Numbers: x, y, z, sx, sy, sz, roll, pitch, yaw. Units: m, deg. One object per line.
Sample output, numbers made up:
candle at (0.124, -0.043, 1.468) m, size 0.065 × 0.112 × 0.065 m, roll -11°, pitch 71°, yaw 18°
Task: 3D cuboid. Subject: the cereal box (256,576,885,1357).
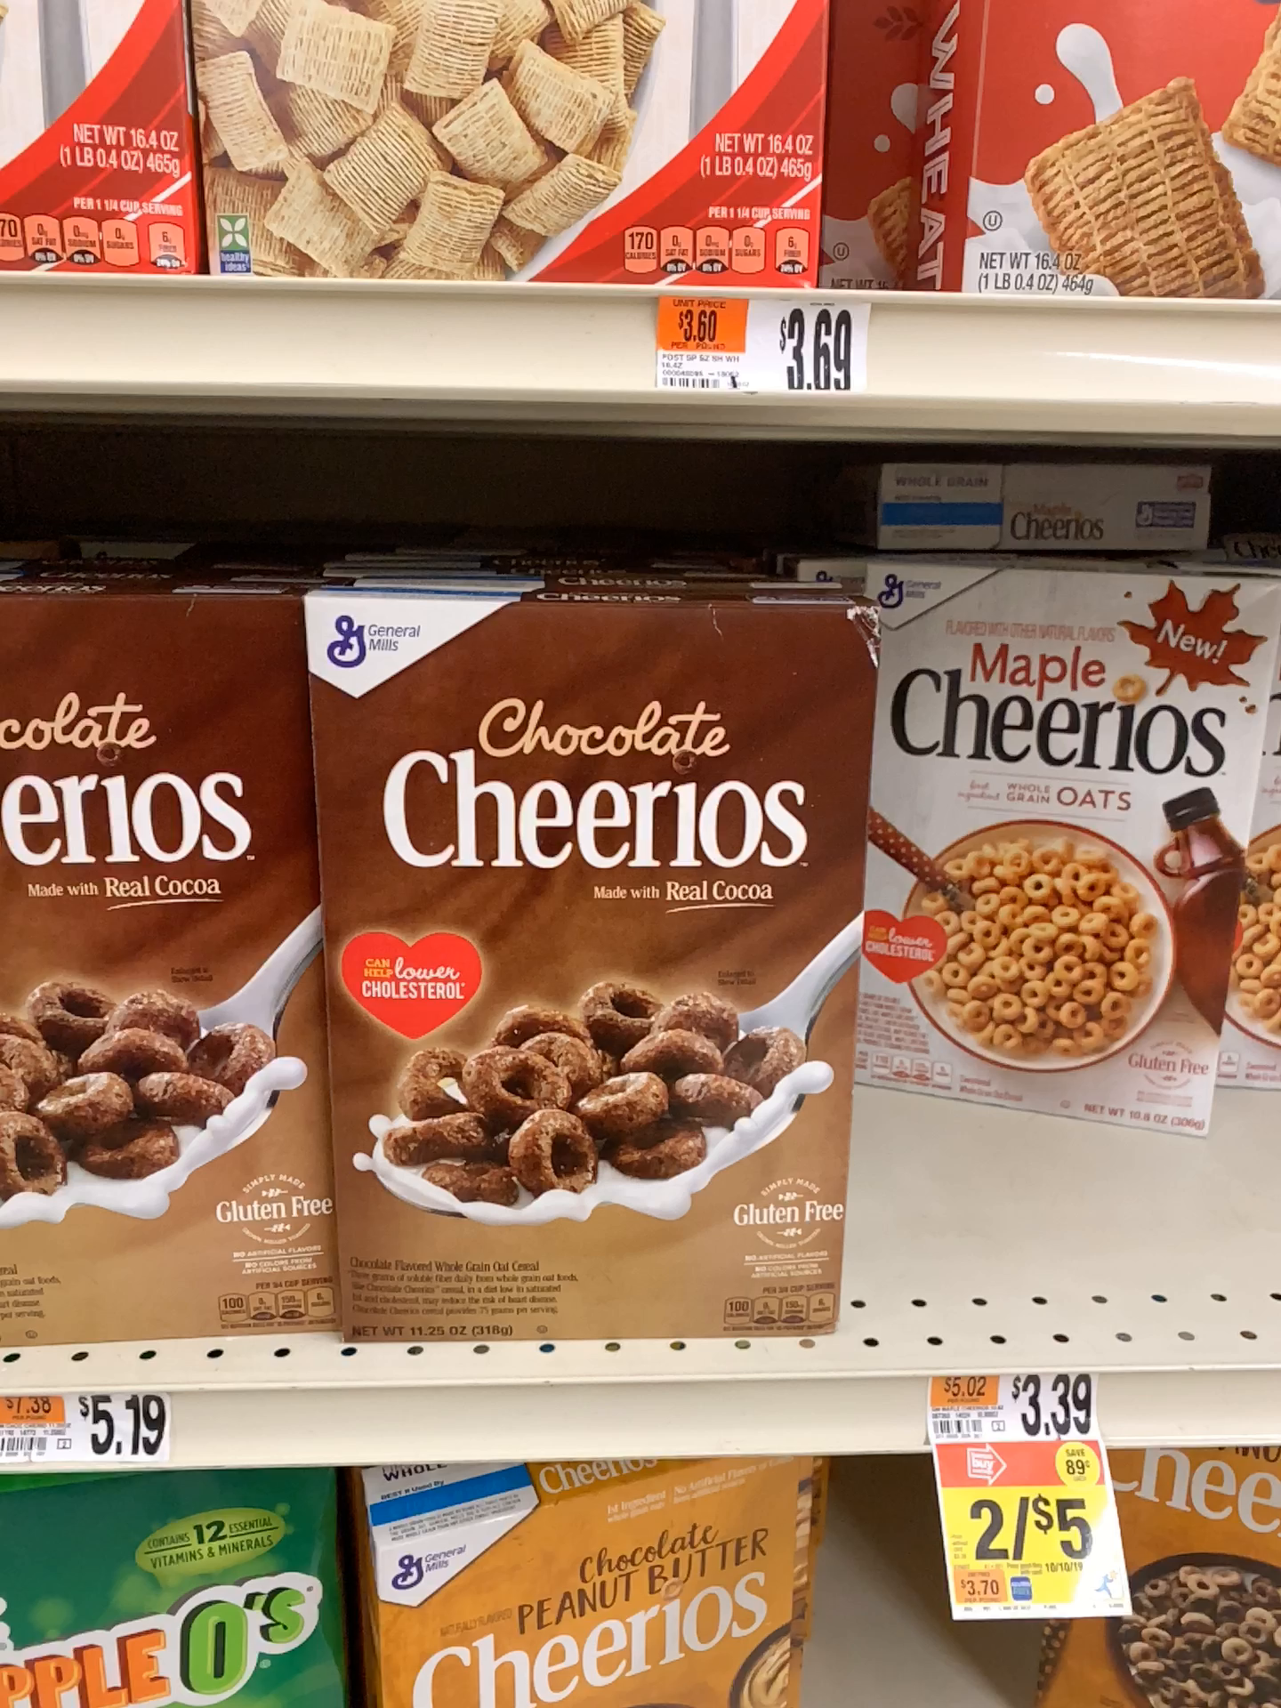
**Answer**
cereal box at (-0.026, 0.049, 0.511) m, size 0.210 × 0.299 × 0.060 m, roll 1°, pitch 17°, yaw -2°
